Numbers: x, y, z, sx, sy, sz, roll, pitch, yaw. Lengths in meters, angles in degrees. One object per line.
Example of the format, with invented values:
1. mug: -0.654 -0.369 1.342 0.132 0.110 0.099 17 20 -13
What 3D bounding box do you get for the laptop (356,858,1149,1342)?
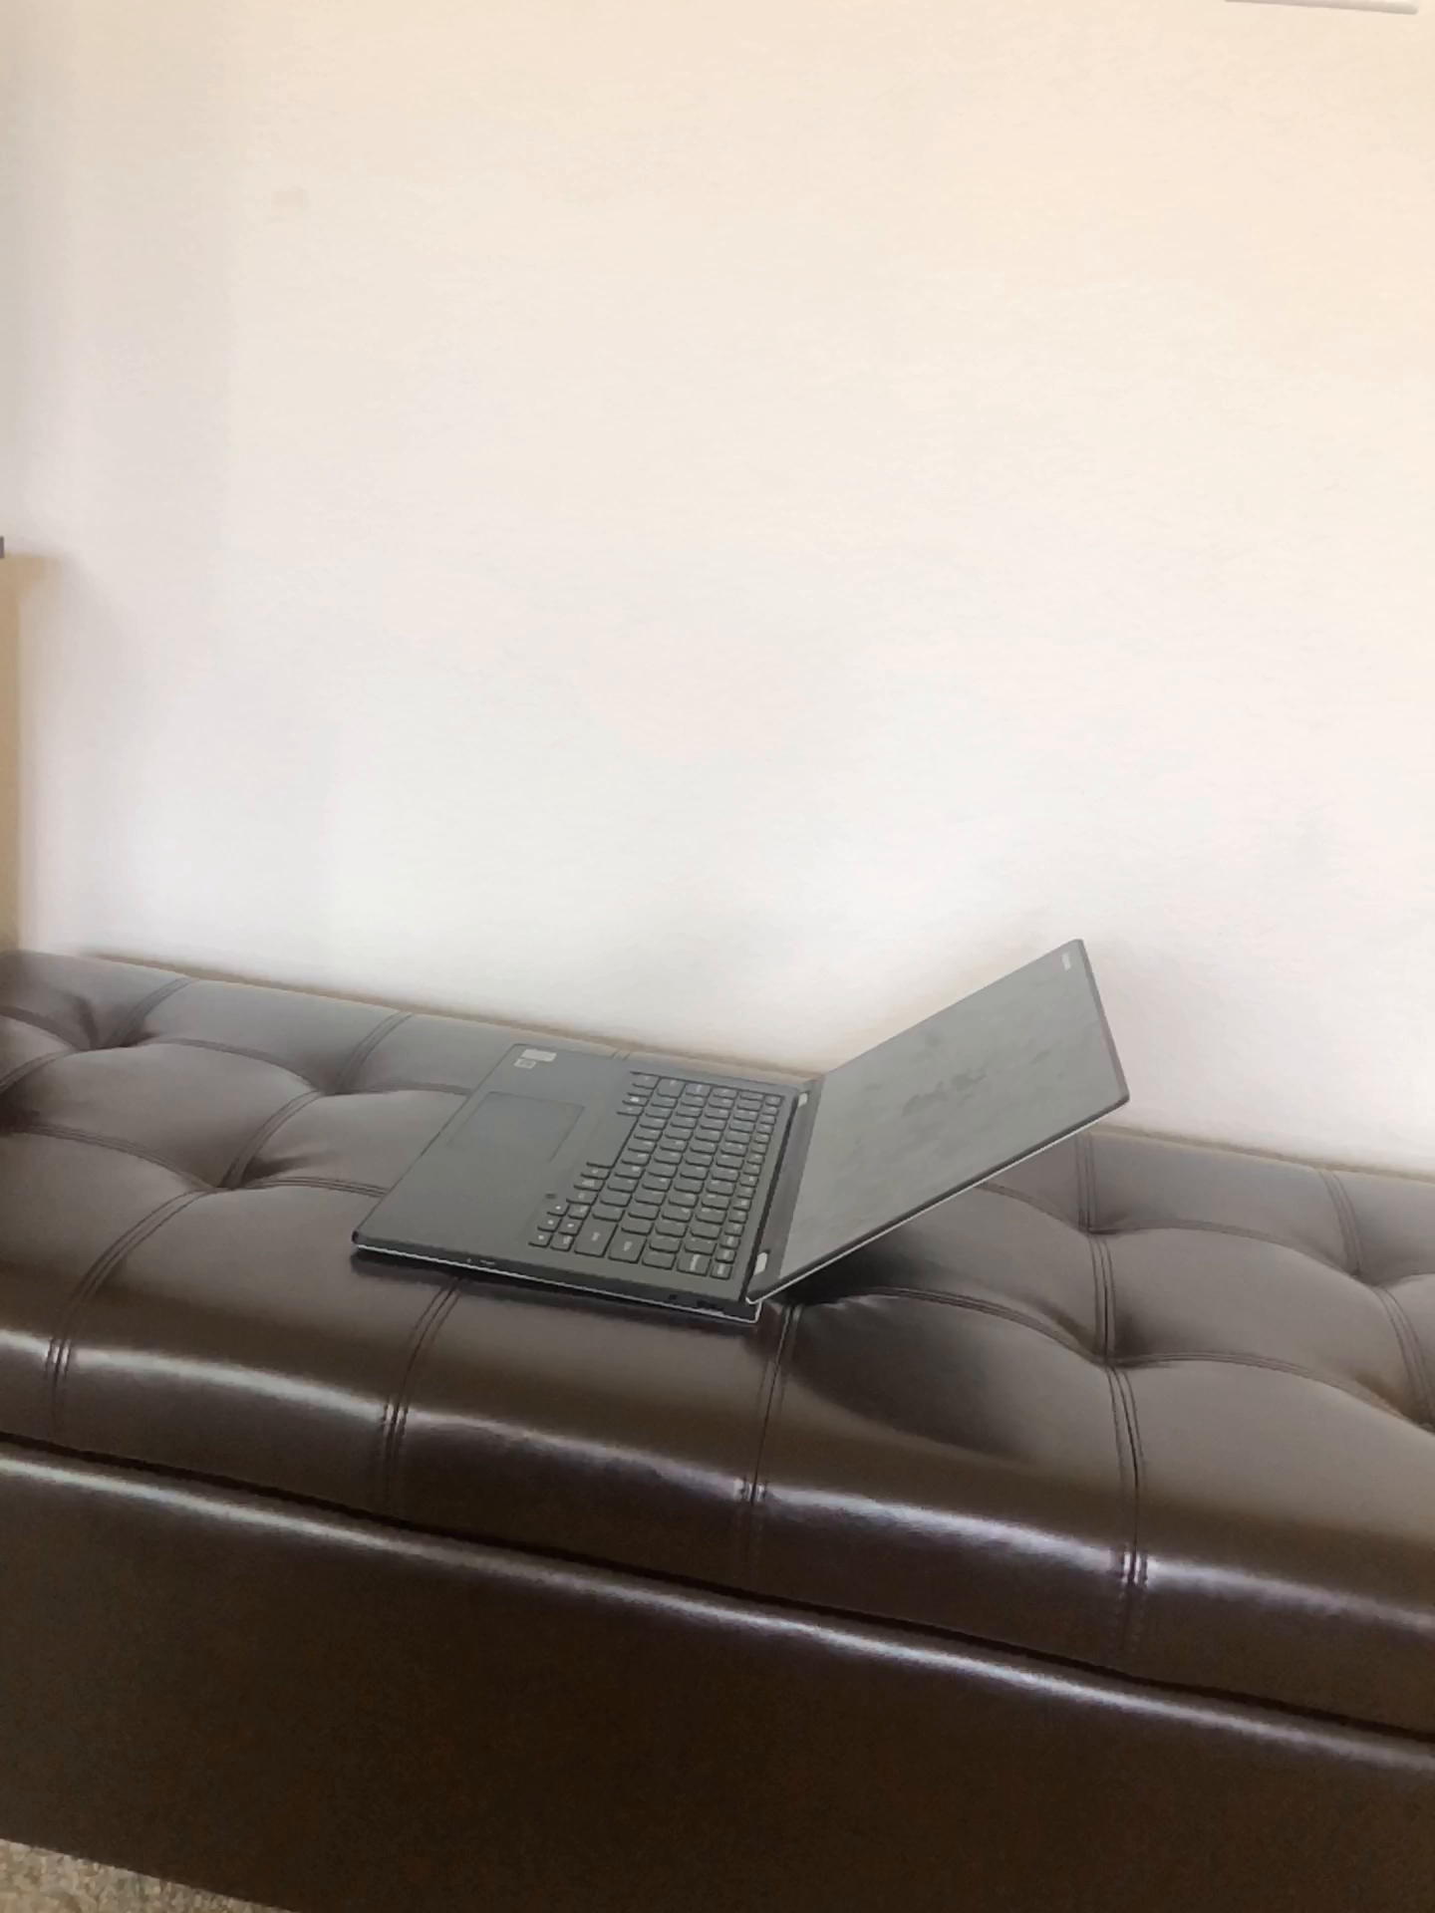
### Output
1. laptop: 0.025 0.051 0.778 0.317 0.115 0.262 7 16 6
